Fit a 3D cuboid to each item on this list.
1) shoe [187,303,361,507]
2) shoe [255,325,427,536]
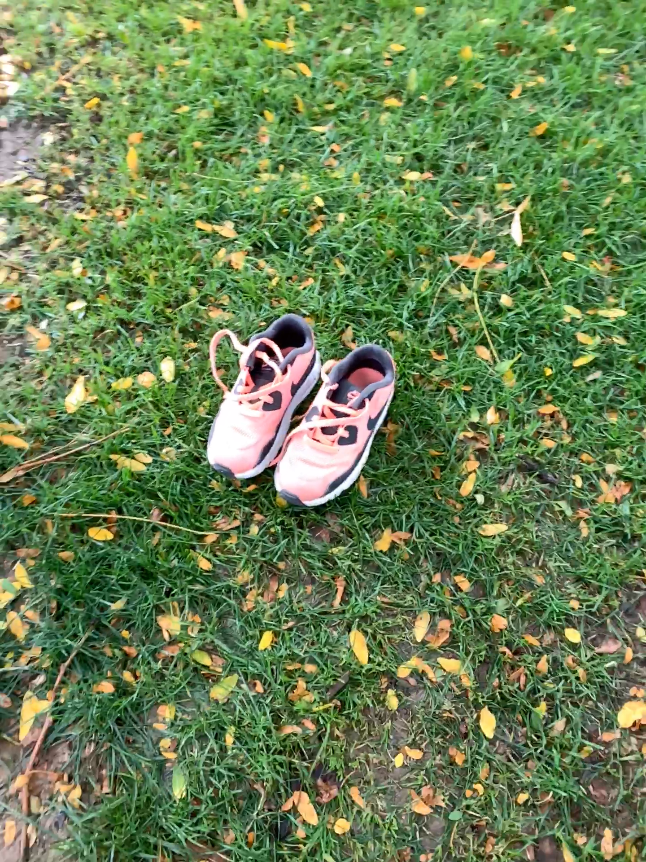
[{"bbox_3d":[-0.046,-0.031,0.705,0.080,0.070,0.200,28,66,16],"label":"shoe"},{"bbox_3d":[0.023,-0.004,0.688,0.080,0.070,0.200,28,66,16],"label":"shoe"}]
